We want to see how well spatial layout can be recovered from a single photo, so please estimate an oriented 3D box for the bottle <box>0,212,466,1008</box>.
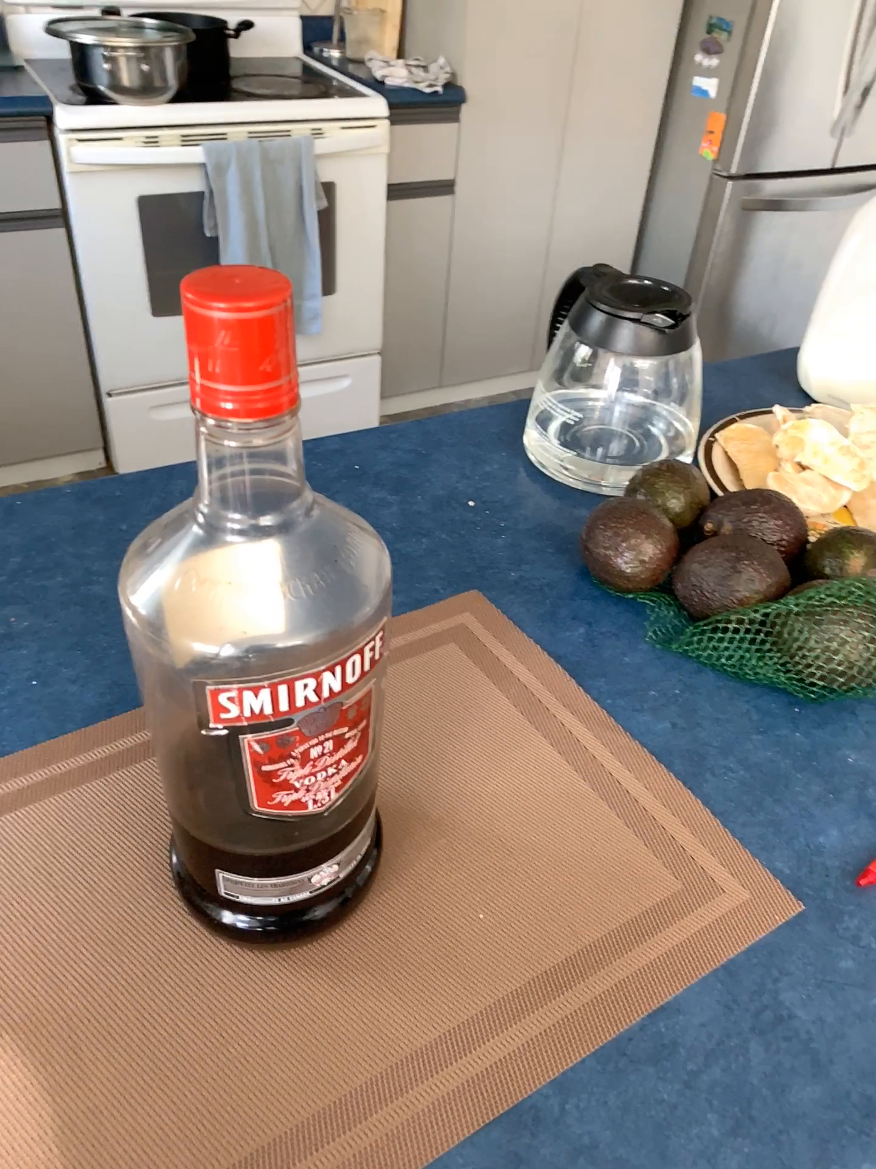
[{"bbox_3d":[-0.082,0.026,0.388,0.120,0.317,0.111,3,38,-2],"label":"bottle"}]
